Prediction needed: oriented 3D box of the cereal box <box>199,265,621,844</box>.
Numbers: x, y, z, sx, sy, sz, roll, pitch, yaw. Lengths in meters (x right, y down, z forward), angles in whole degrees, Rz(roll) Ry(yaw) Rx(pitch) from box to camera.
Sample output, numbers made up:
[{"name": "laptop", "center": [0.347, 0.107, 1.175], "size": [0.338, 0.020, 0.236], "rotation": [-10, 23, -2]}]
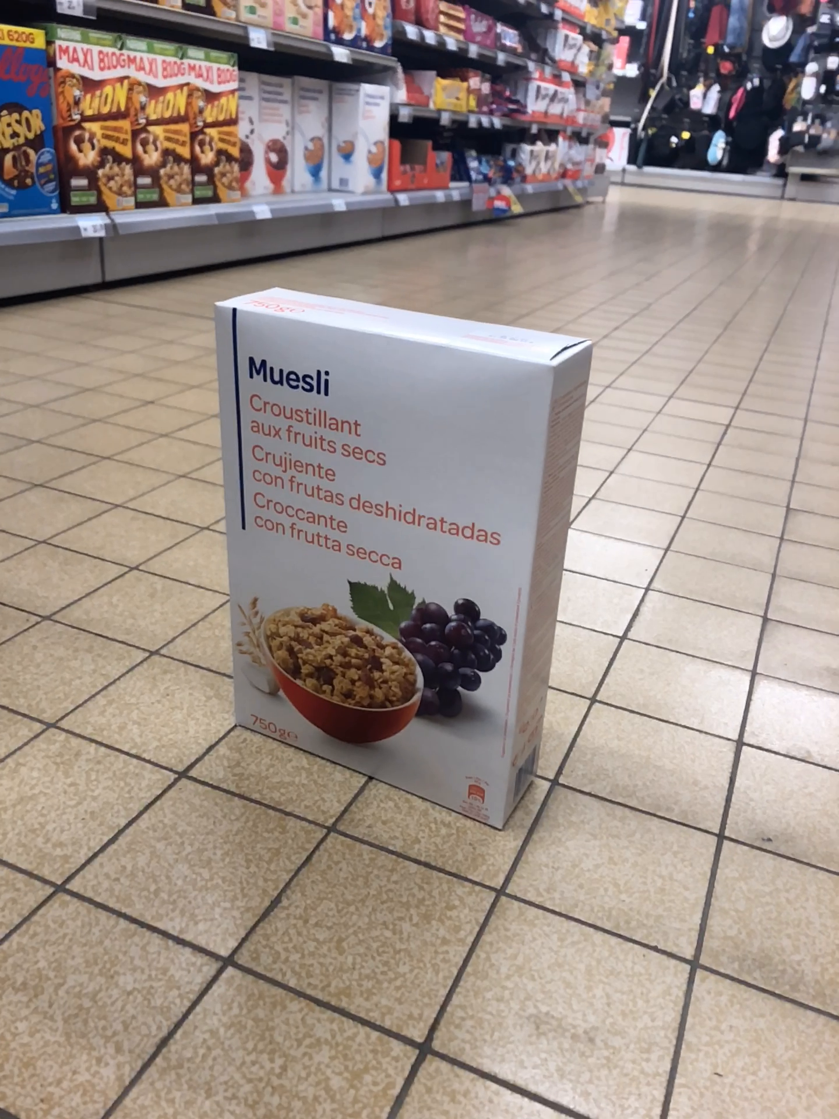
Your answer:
[{"name": "cereal box", "center": [-0.016, -0.005, 0.502], "size": [0.200, 0.268, 0.060], "rotation": [16, 28, 24]}]
